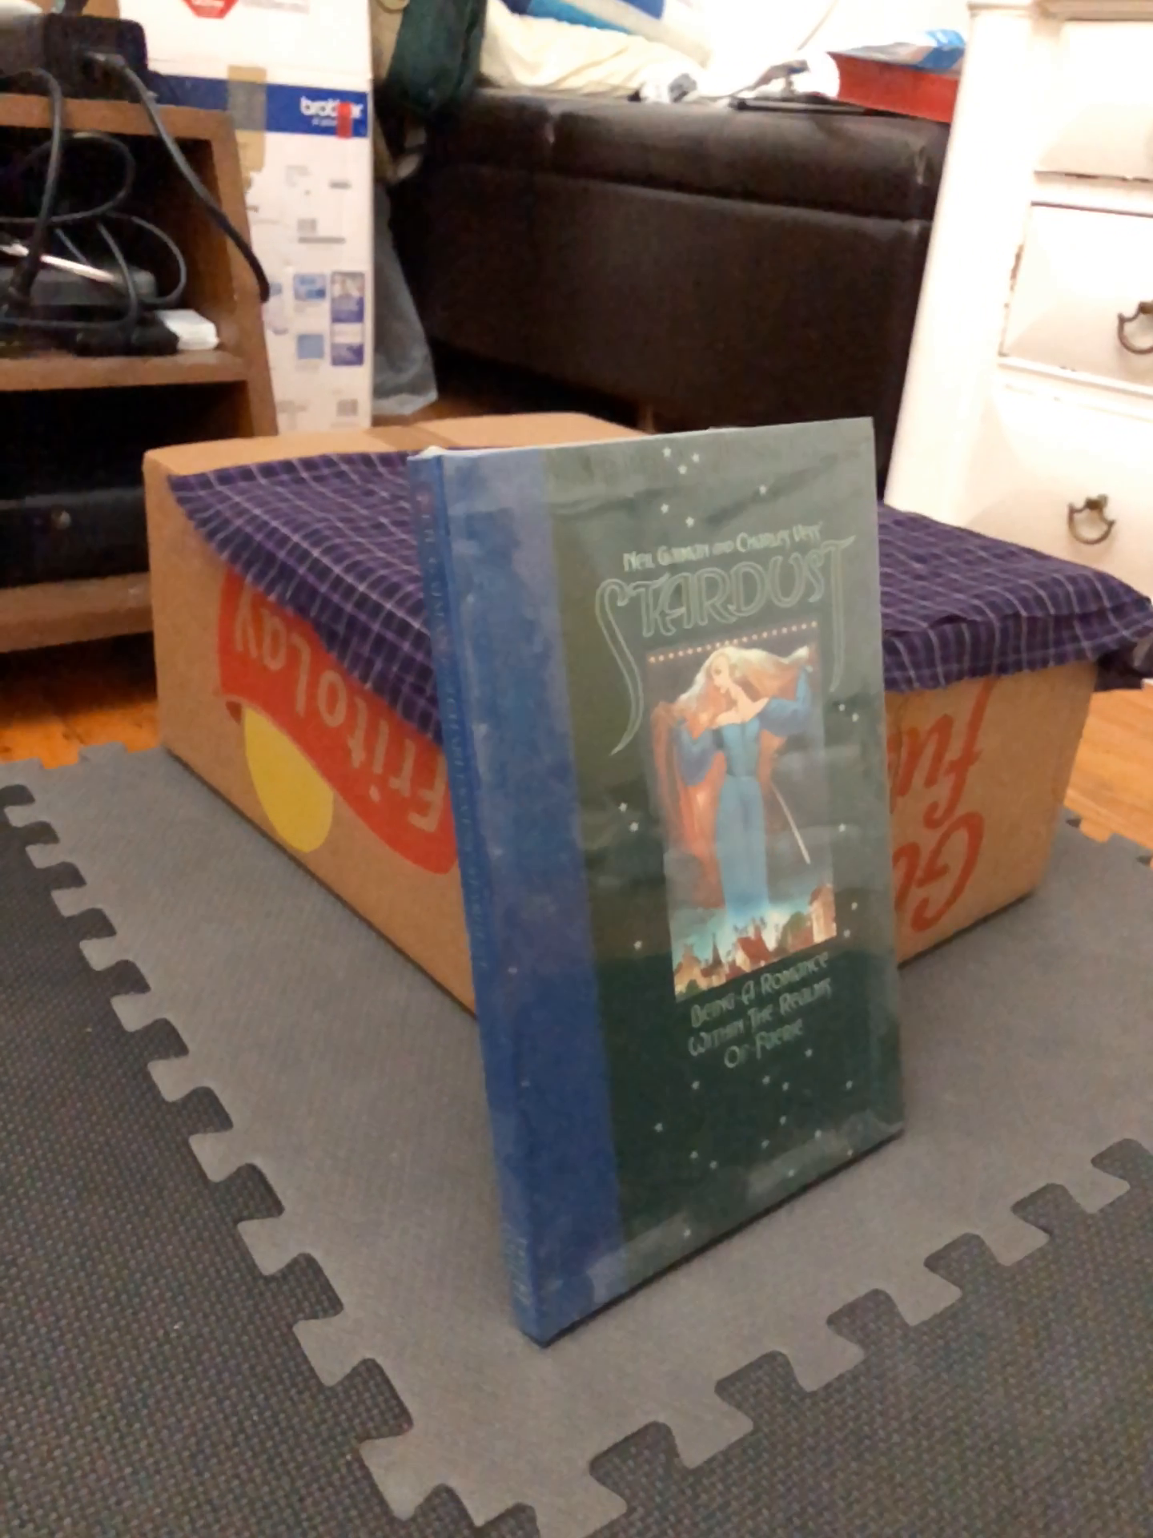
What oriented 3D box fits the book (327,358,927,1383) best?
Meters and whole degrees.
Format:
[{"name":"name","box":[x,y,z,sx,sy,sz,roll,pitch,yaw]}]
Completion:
[{"name":"book","box":[0.039,0.023,0.483,0.221,0.329,0.050,-16,18,-36]}]
